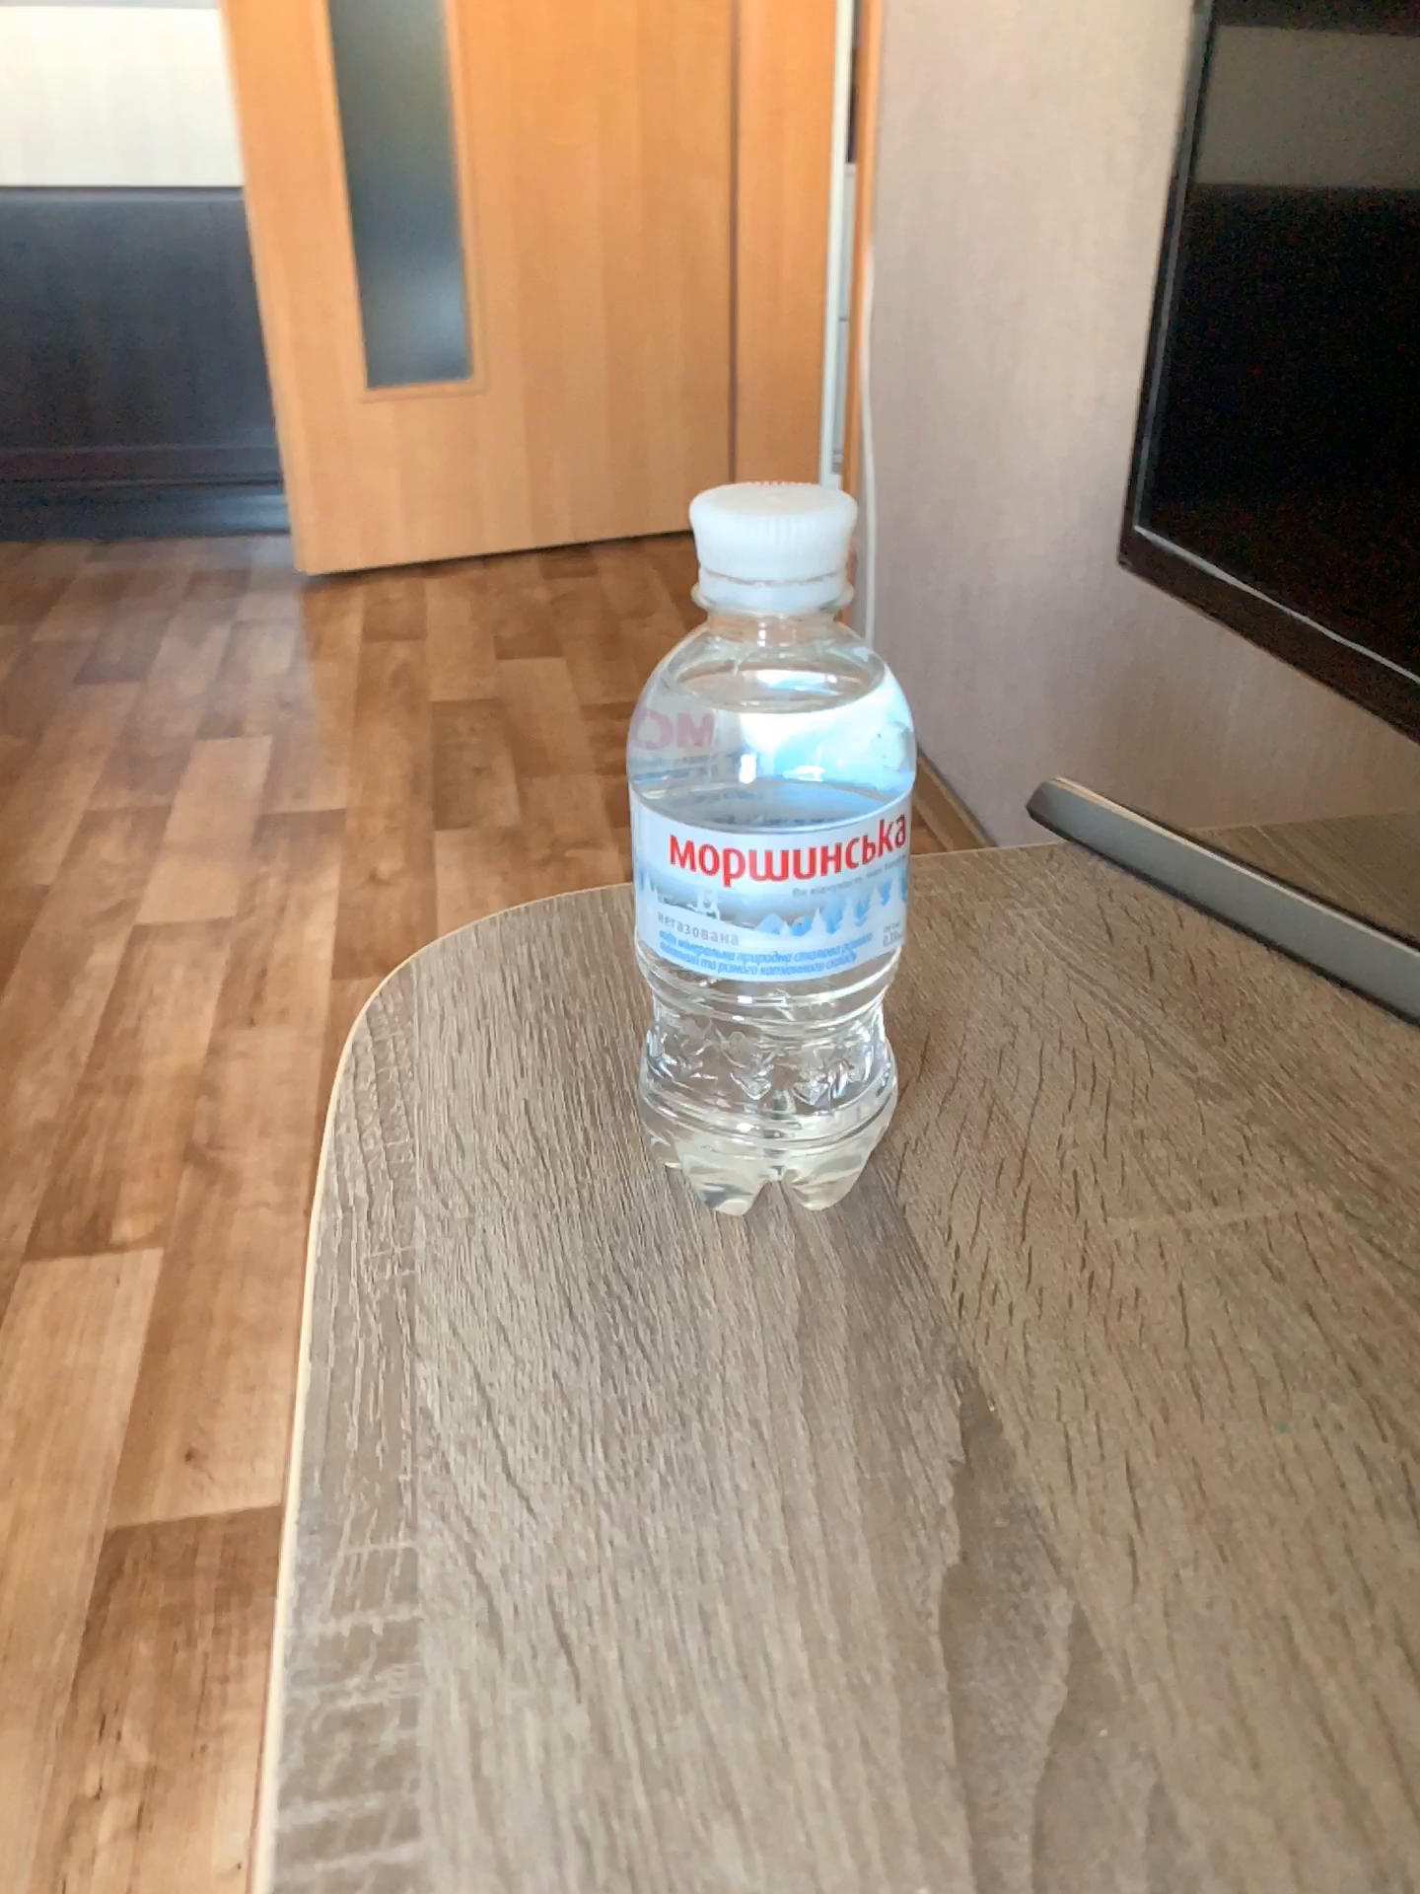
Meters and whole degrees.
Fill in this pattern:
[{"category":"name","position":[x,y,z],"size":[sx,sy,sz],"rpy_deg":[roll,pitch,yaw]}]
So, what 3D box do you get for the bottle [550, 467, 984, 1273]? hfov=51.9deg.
[{"category":"bottle","position":[0.006,-0.015,0.306],"size":[0.070,0.149,0.070],"rpy_deg":[0,30,0]}]
